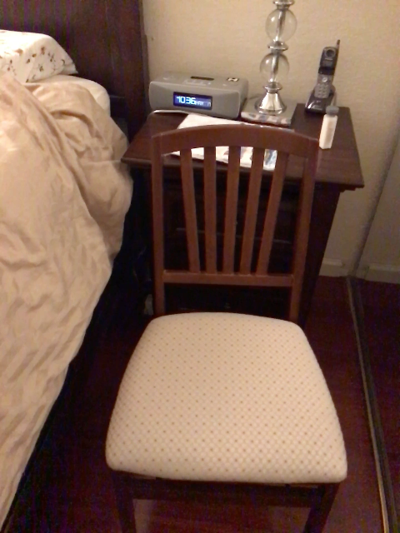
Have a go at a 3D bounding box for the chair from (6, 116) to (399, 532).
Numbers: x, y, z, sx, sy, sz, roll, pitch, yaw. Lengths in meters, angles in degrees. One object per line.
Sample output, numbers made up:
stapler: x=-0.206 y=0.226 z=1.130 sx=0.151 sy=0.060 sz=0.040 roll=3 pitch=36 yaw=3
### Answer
chair: x=0.078 y=0.270 z=1.081 sx=0.620 sy=1.032 sz=0.695 roll=1 pitch=40 yaw=-2
